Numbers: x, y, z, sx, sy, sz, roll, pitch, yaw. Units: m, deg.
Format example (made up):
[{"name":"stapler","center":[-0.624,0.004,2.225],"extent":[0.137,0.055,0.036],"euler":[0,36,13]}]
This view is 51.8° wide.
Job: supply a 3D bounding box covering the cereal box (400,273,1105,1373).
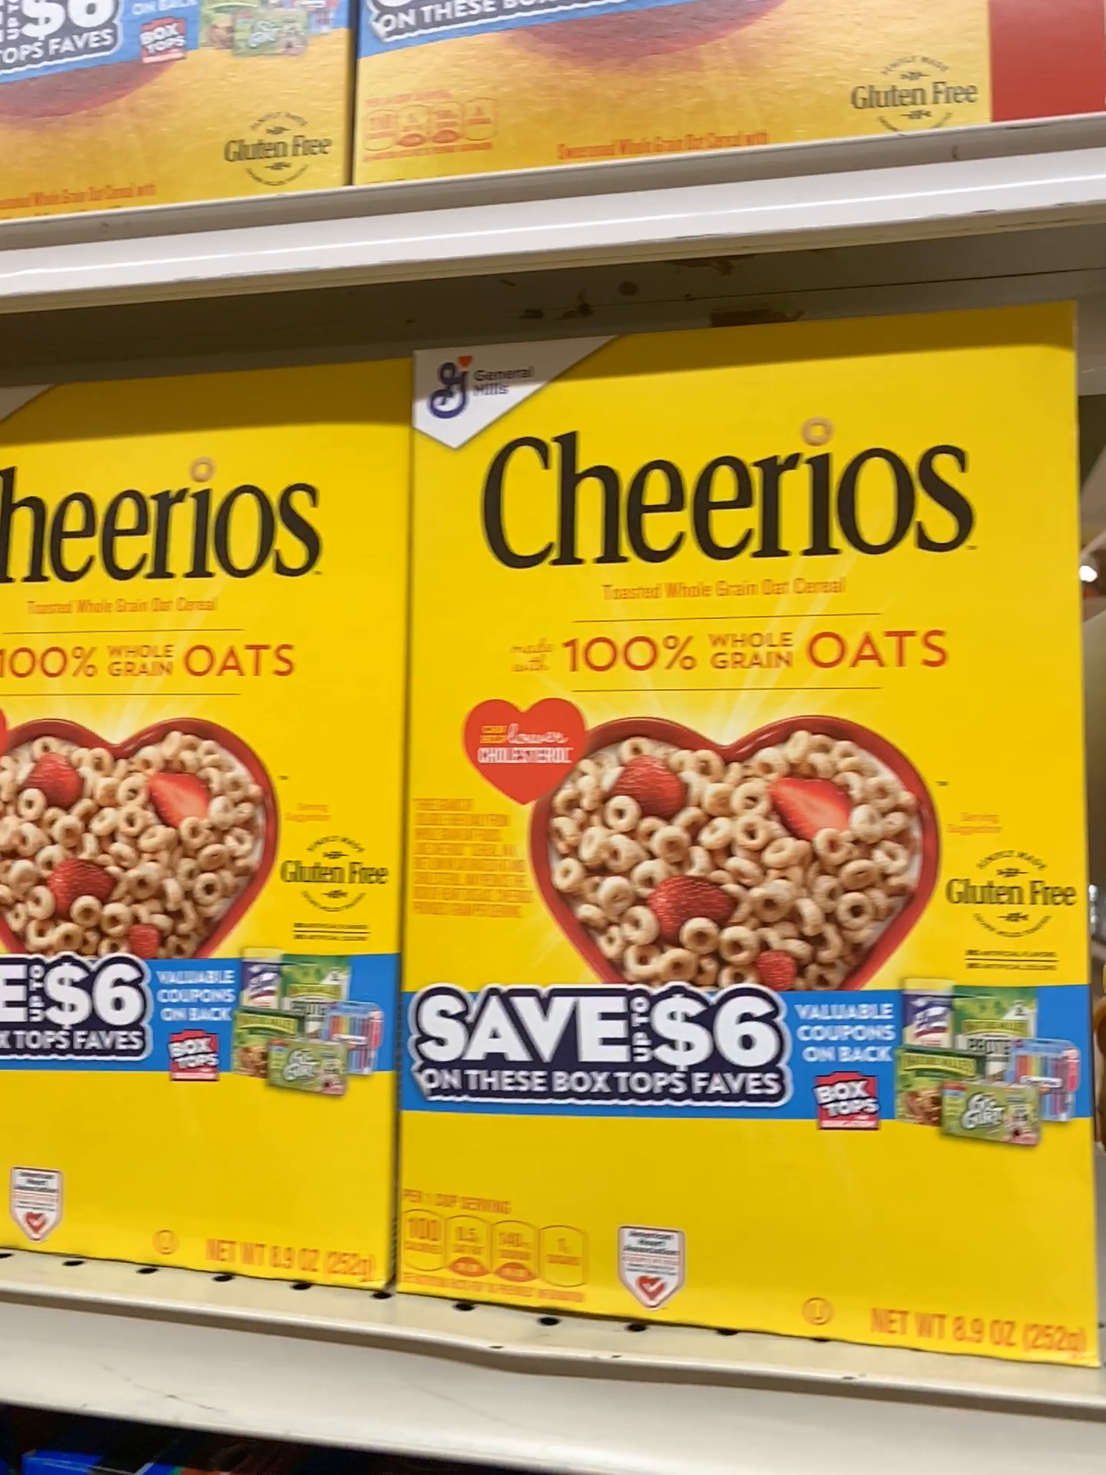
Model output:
[{"name":"cereal box","center":[0.057,0.018,0.325],"extent":[0.190,0.270,0.050],"euler":[0,-4,12]}]
